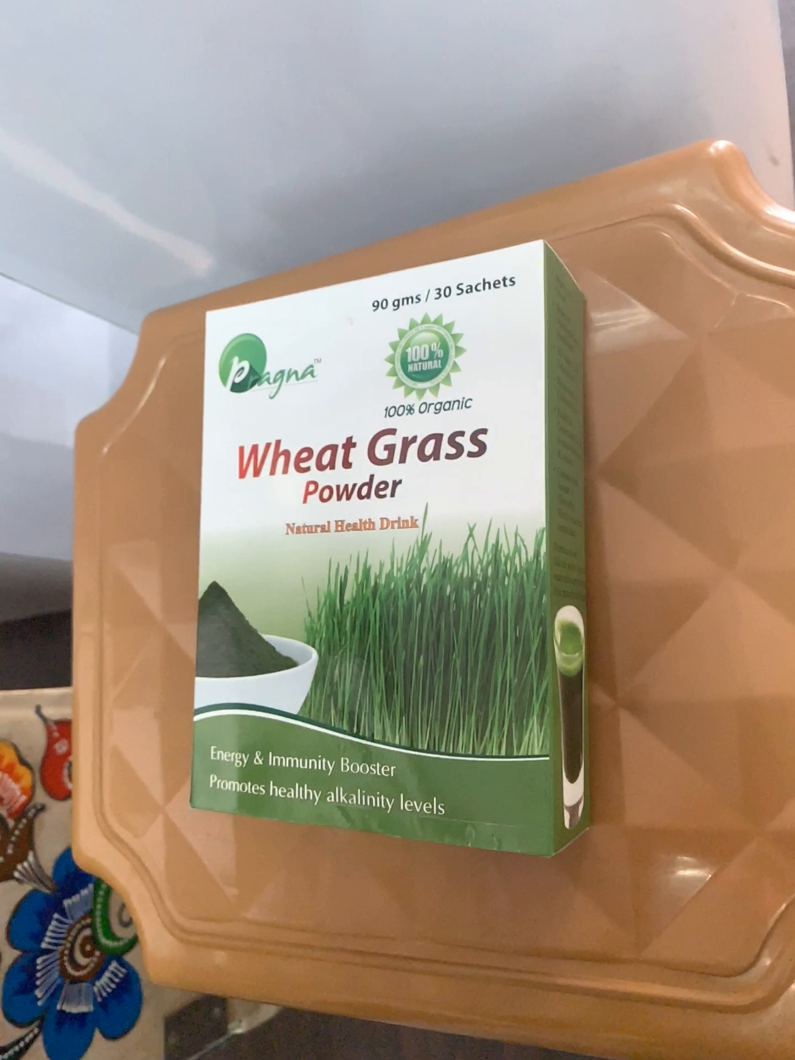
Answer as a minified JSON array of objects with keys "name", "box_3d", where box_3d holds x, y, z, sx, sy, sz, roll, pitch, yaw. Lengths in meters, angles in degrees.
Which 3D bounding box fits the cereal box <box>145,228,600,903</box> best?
[{"name":"cereal box","box_3d":[-0.010,0.011,0.260,0.130,0.050,0.170,-3,83,28]}]
